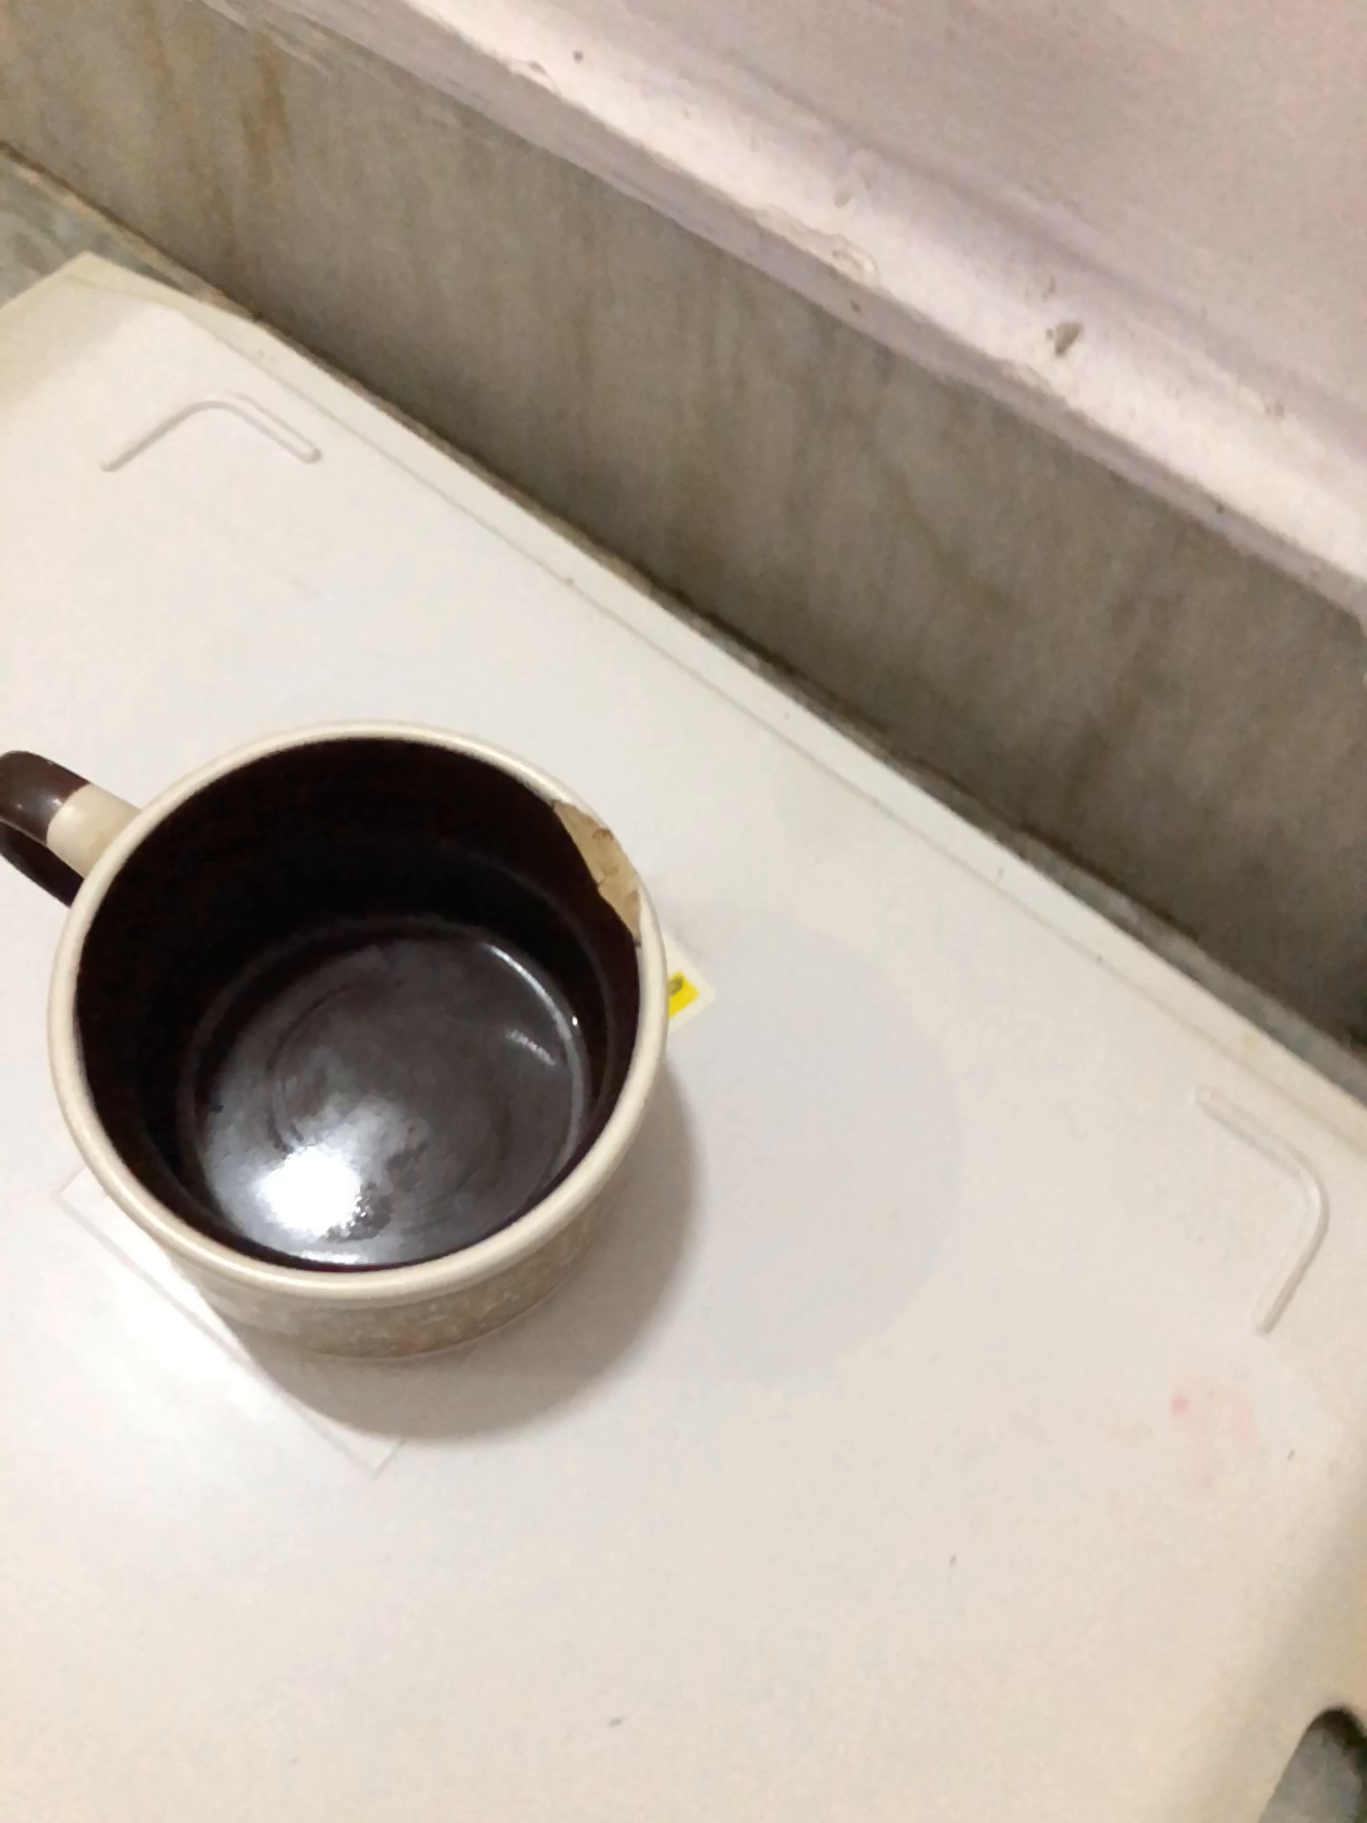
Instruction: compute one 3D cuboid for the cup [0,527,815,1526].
[{"bbox_3d":[-0.050,0.016,0.213,0.100,0.060,0.080,37,65,11],"label":"cup"}]
